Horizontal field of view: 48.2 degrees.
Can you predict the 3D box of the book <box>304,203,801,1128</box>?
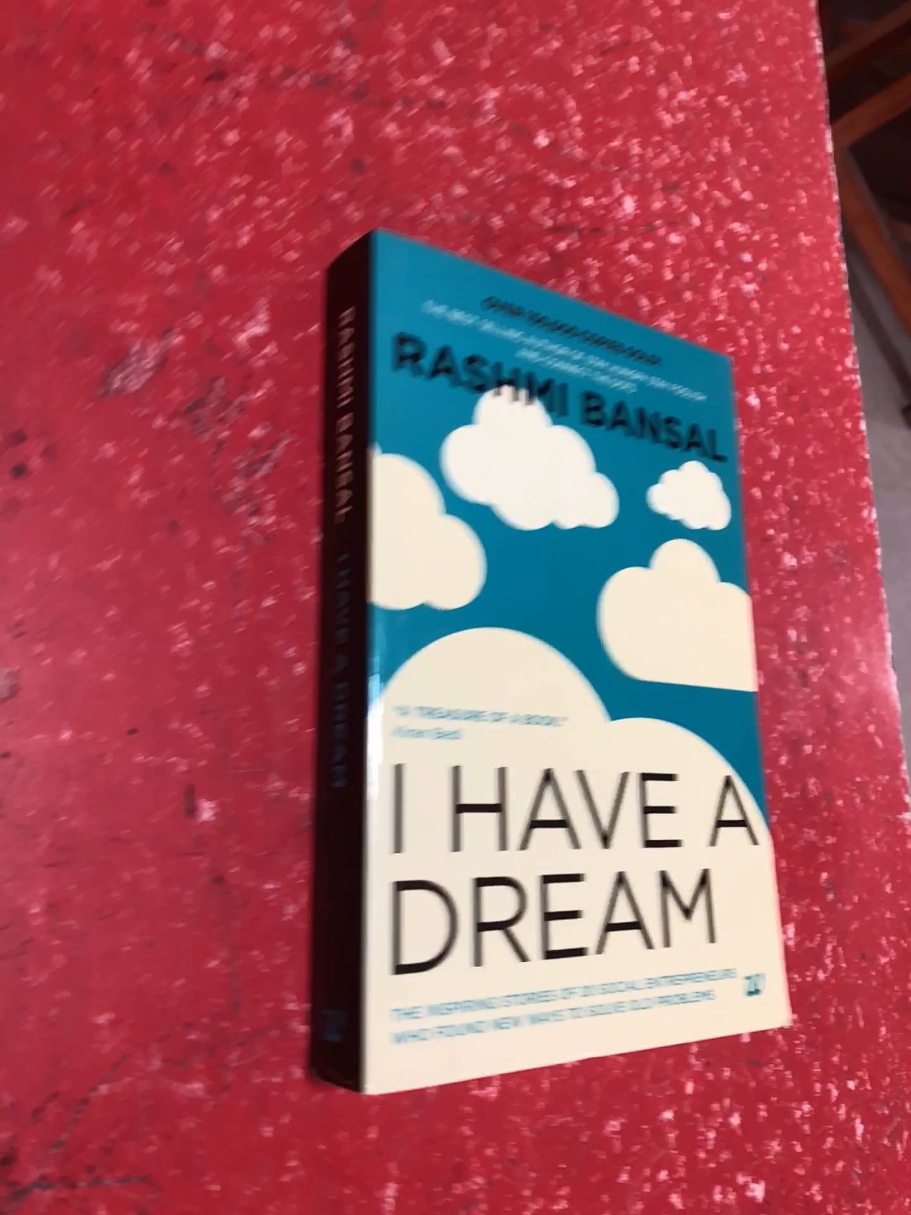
[{"bbox_3d":[0.027,0.012,0.266,0.131,0.030,0.200,7,75,-34],"label":"book"}]
